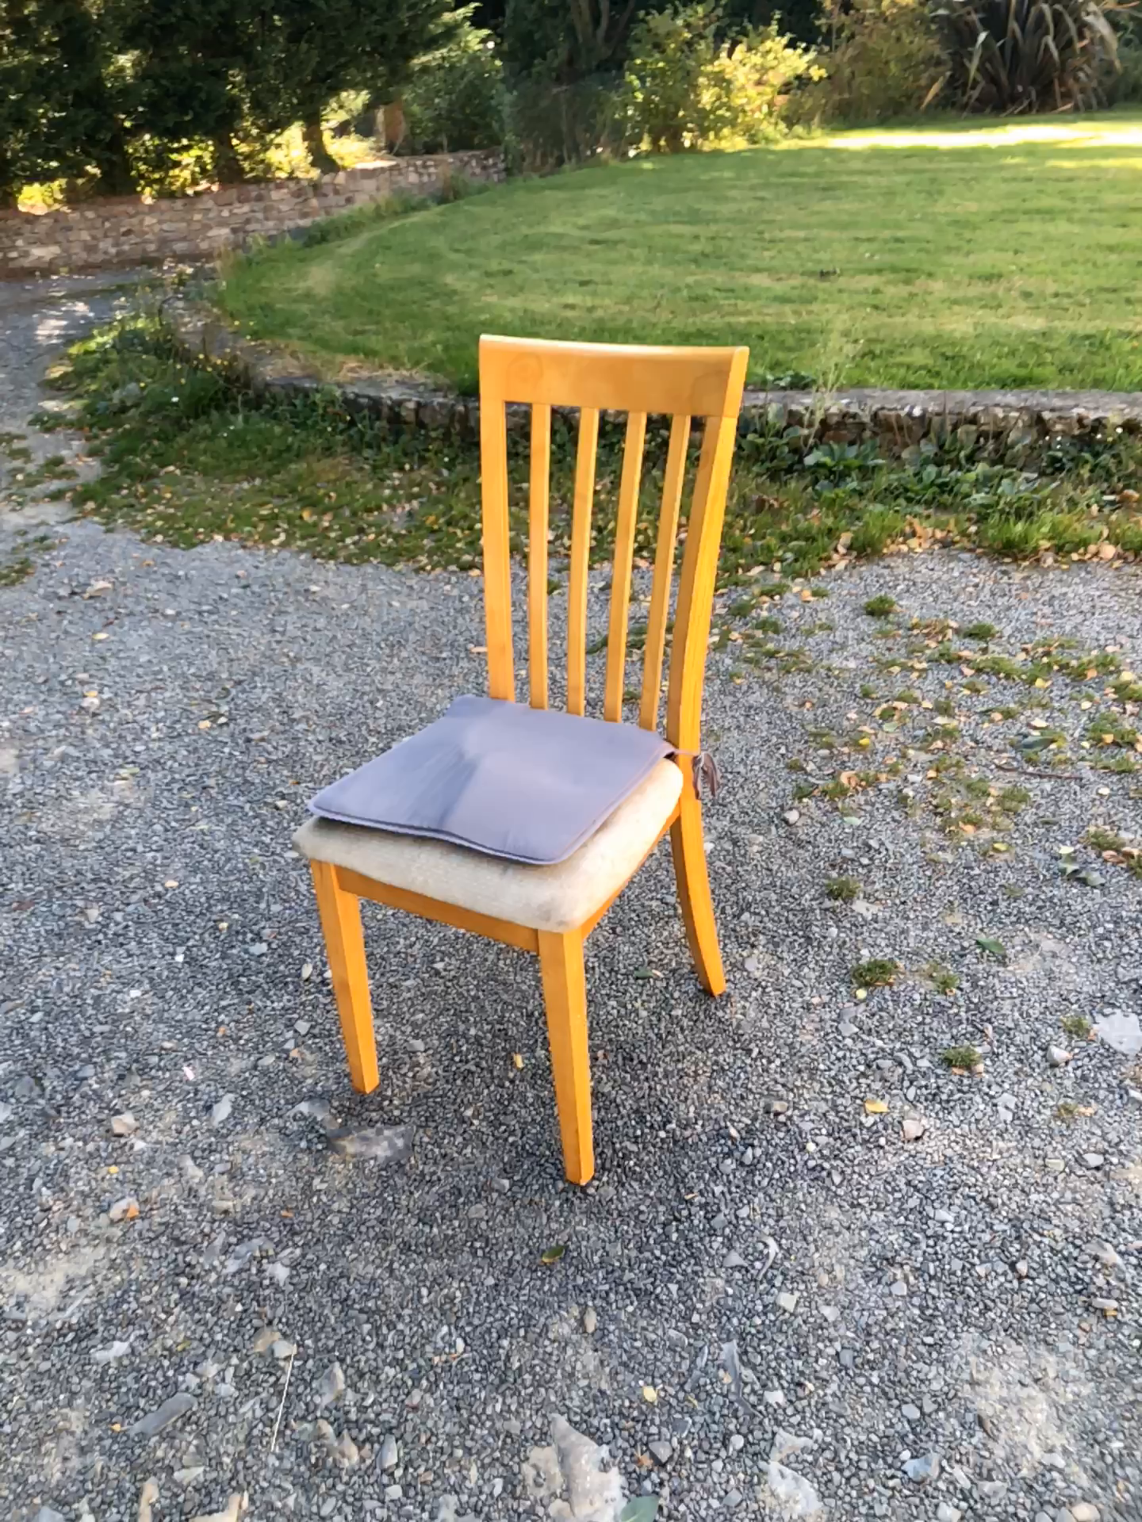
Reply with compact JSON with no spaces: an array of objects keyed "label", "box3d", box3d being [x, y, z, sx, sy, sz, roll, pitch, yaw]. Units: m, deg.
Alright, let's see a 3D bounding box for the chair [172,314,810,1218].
[{"label":"chair","box3d":[-0.044,-0.028,1.725,0.510,0.994,0.614,14,34,26]}]
